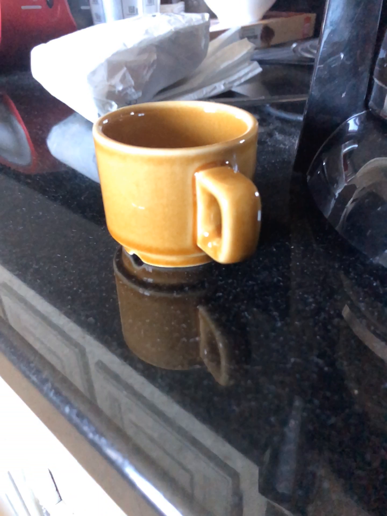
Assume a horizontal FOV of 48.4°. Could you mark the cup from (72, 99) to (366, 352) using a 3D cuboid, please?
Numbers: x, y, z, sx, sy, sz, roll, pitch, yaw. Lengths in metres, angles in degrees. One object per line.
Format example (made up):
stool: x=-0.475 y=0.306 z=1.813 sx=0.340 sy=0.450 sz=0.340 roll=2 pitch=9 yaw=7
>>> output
cup: x=0.002 y=-0.024 z=0.175 sx=0.070 sy=0.050 sz=0.100 roll=-16 pitch=36 yaw=-22
